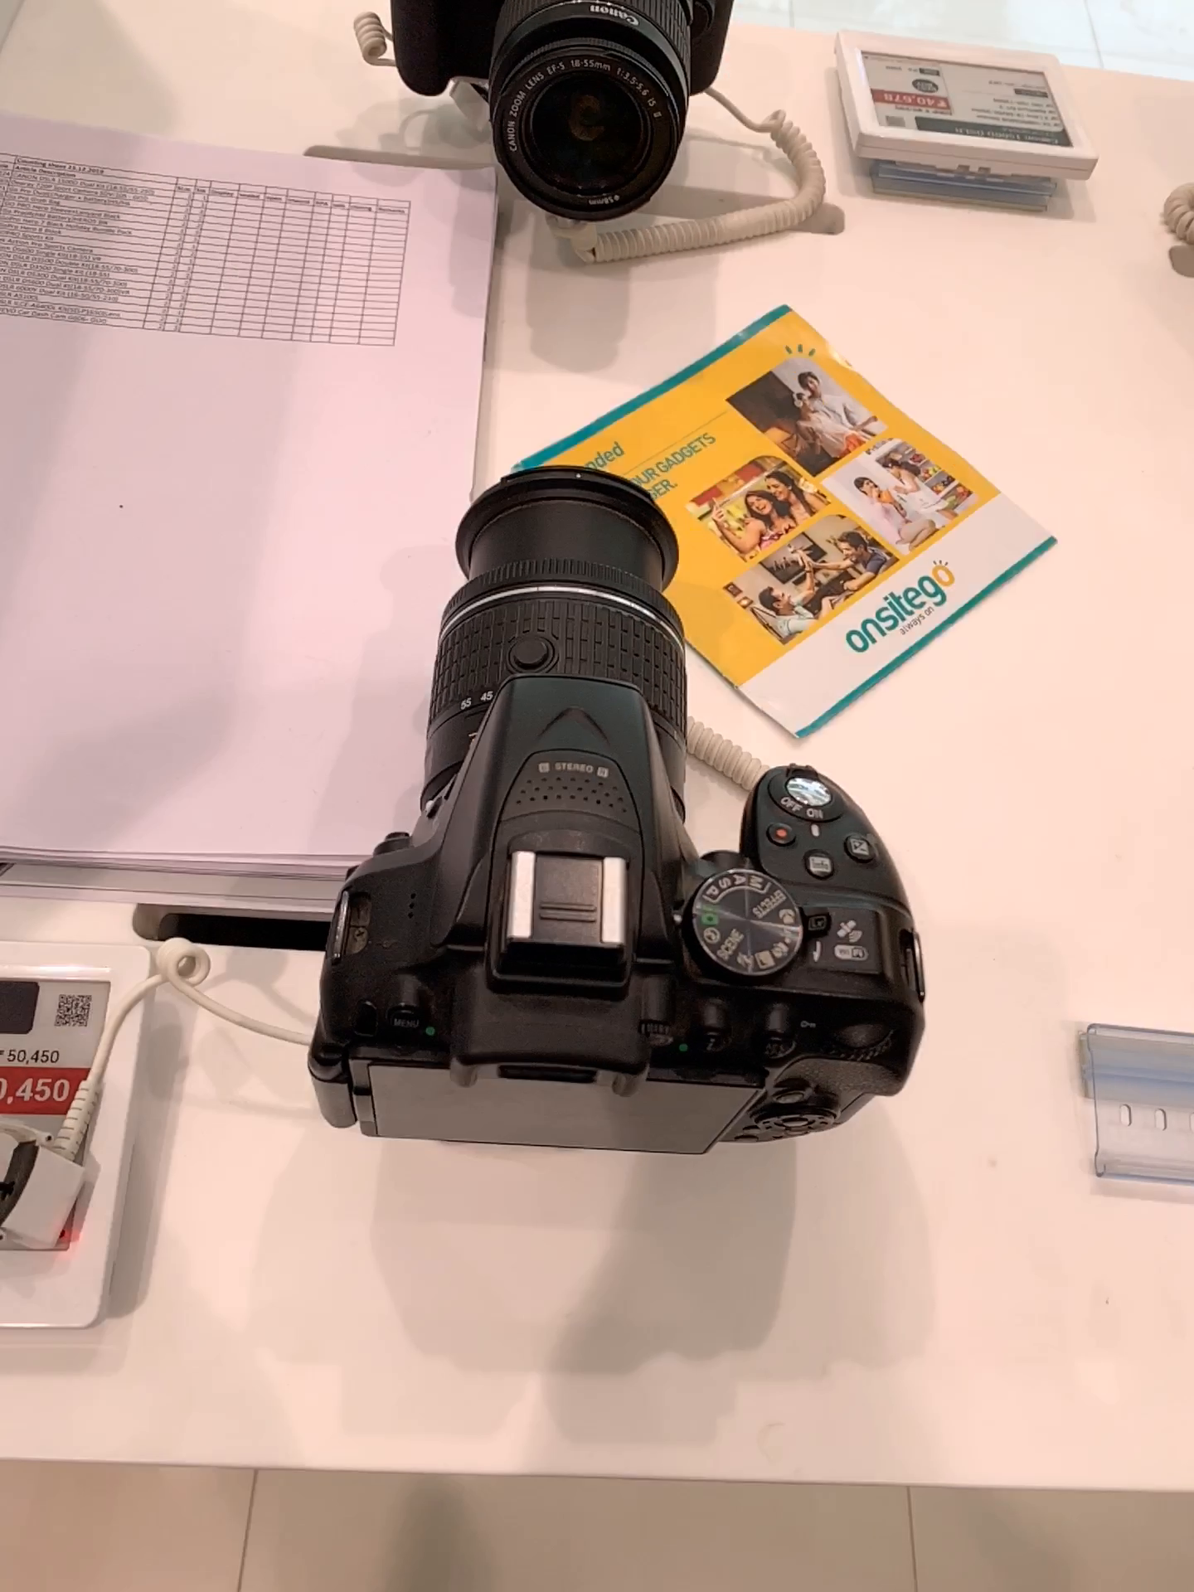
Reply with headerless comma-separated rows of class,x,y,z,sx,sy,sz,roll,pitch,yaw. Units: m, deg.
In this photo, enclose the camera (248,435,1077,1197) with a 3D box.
camera,0.007,0.011,0.242,0.118,0.100,0.107,5,61,-4
